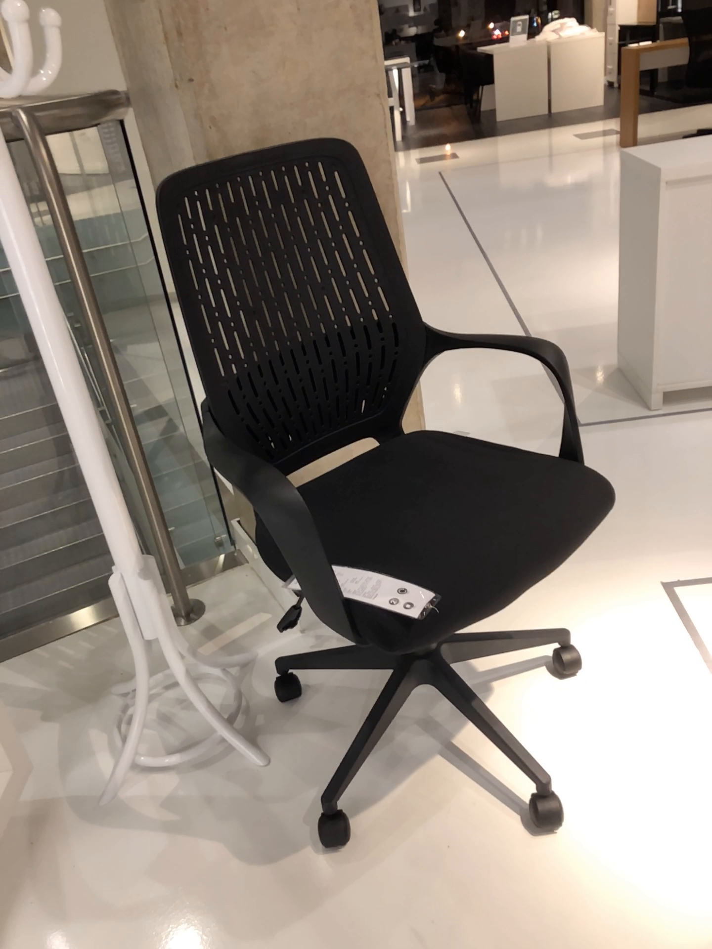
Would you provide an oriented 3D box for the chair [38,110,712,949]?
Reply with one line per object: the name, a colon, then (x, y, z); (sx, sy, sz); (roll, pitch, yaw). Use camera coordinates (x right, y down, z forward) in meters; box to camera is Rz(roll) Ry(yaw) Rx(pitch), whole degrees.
chair: (0.066, 0.025, 1.279); (0.642, 1.022, 0.703); (-26, 33, -28)
